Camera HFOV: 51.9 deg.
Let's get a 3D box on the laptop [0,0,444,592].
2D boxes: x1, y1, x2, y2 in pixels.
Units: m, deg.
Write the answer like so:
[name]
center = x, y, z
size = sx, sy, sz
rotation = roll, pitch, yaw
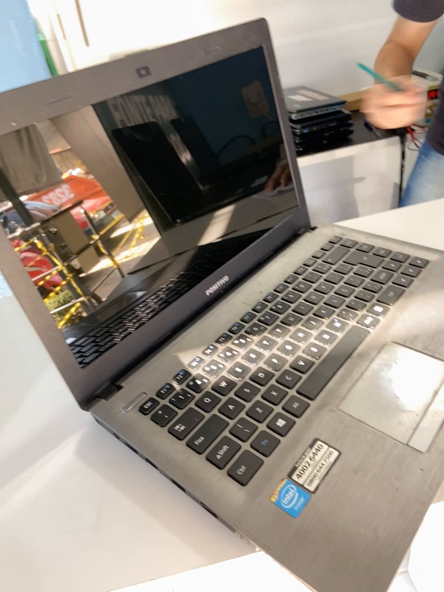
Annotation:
[laptop]
center = 0.052, -0.061, 0.336
size = 0.283, 0.211, 0.336
rotation = 21, 45, 37
